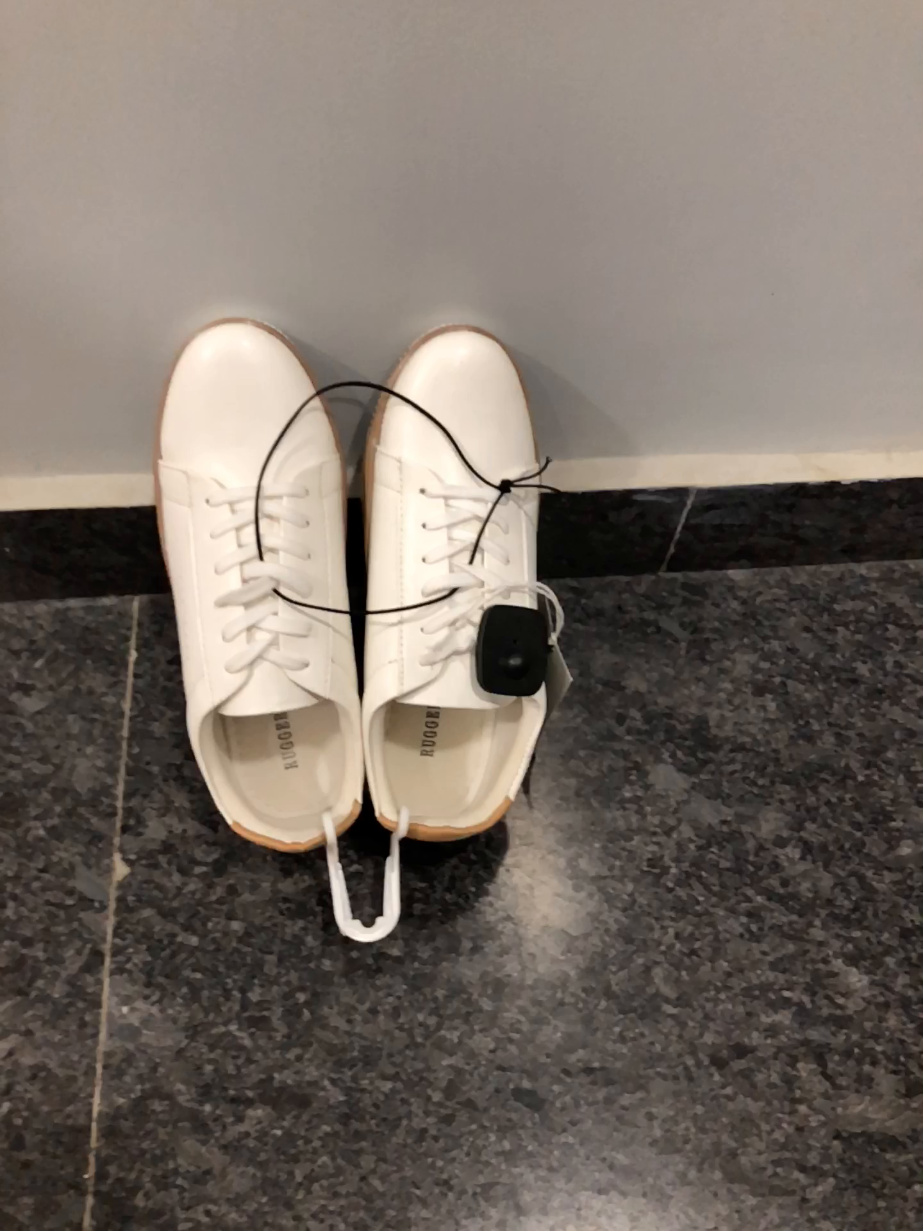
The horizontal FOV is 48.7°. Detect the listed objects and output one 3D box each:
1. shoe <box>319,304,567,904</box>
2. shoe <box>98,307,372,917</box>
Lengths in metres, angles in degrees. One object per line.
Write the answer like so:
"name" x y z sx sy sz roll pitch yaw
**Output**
"shoe" -0.016 -0.007 0.525 0.107 0.104 0.273 0 96 -11
"shoe" -0.107 -0.004 0.508 0.101 0.087 0.272 -4 95 -7
